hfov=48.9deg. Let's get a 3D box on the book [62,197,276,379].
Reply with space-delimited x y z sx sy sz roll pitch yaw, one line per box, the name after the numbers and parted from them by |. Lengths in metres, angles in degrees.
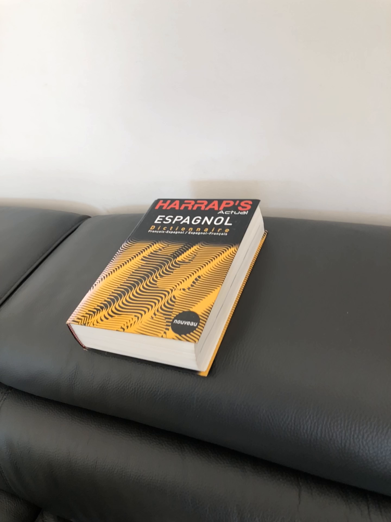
-0.021 0.013 0.568 0.185 0.050 0.262 4 45 27 | book
